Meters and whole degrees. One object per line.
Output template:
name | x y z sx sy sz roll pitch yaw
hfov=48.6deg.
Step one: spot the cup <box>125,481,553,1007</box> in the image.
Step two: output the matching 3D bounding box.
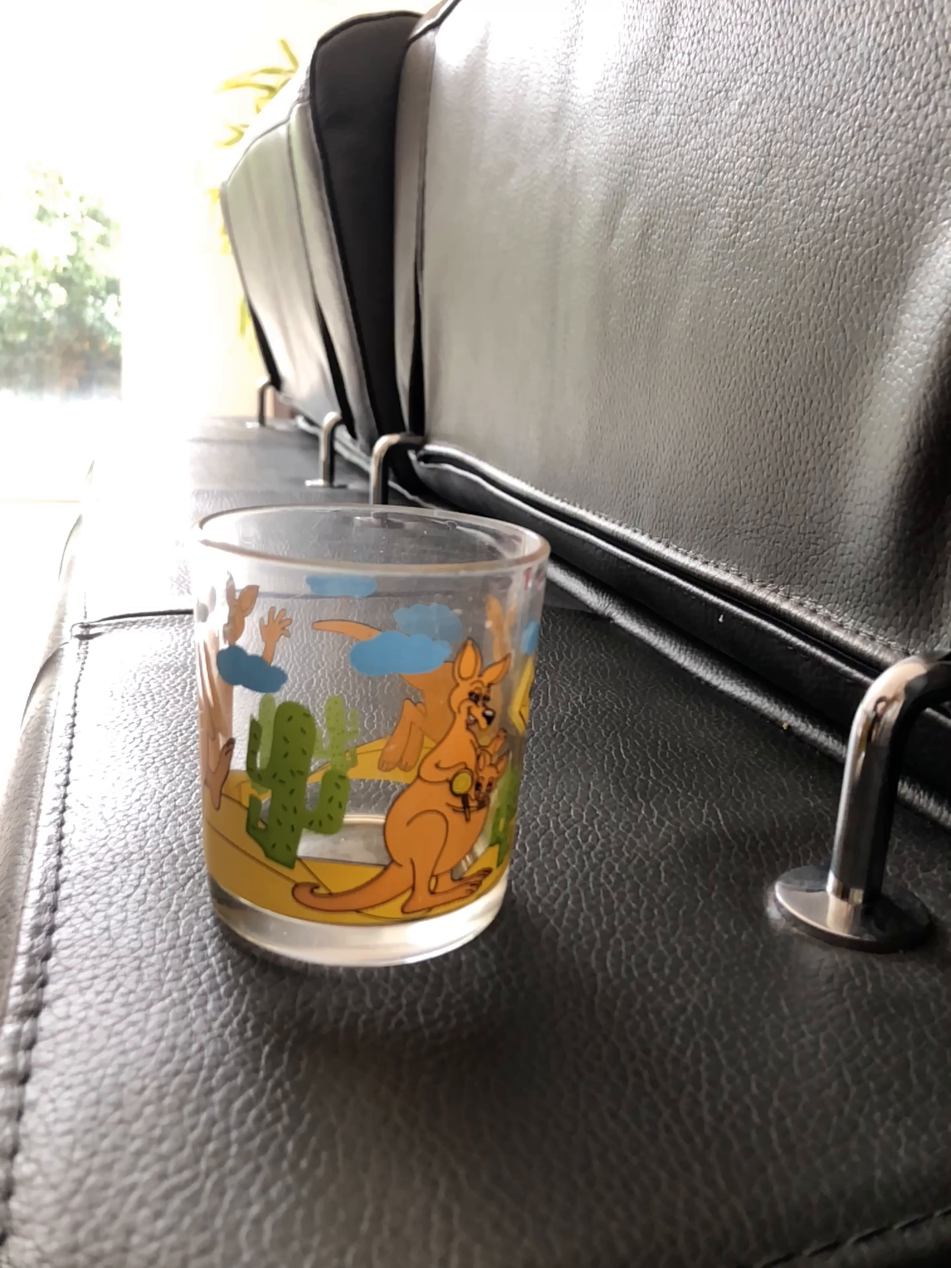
cup | -0.022 0.015 0.219 0.070 0.080 0.080 4 15 2
